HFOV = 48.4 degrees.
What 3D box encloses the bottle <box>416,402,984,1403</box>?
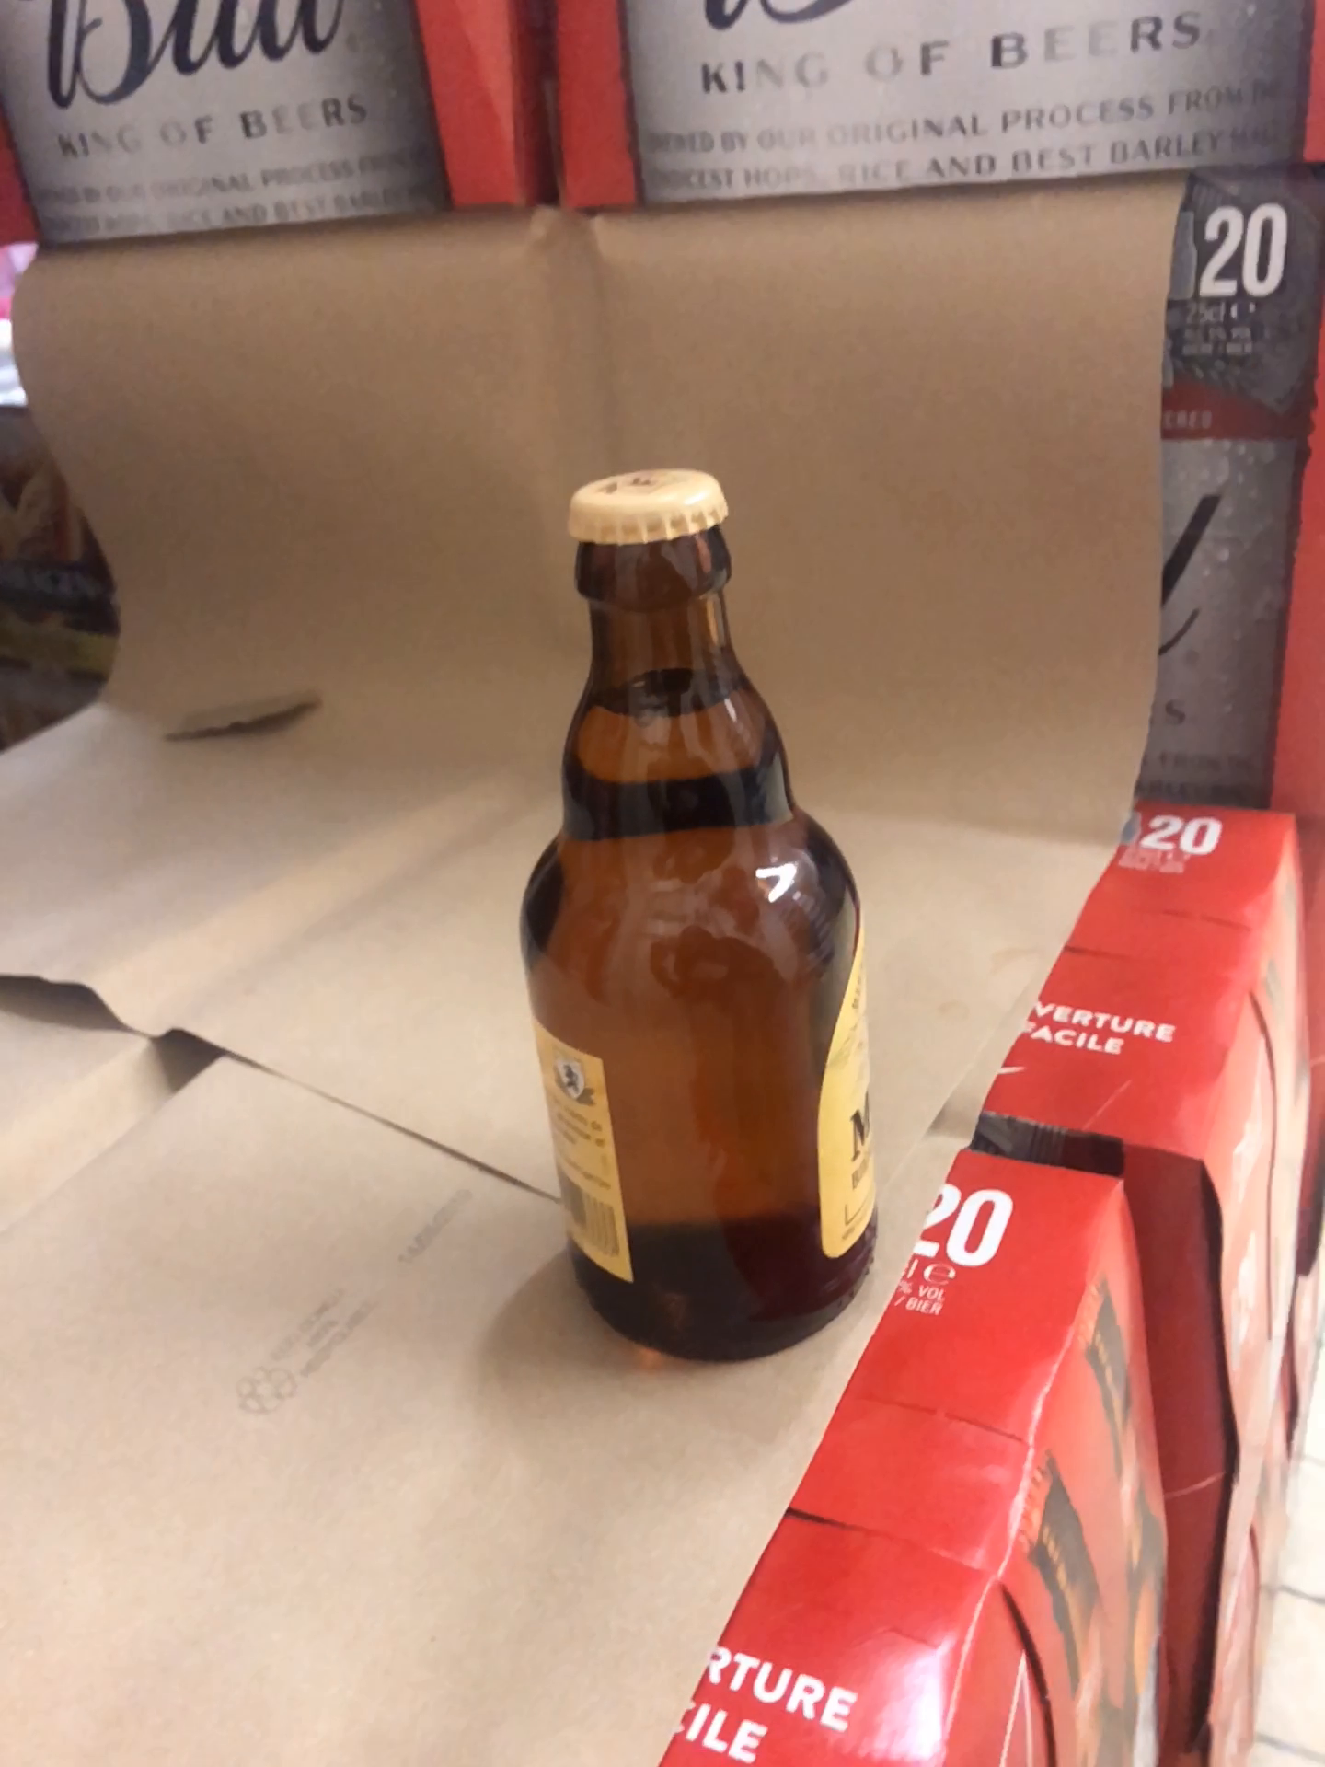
[{"bbox_3d":[0.009,0.003,0.289,0.080,0.166,0.080,-5,28,3],"label":"bottle"}]
